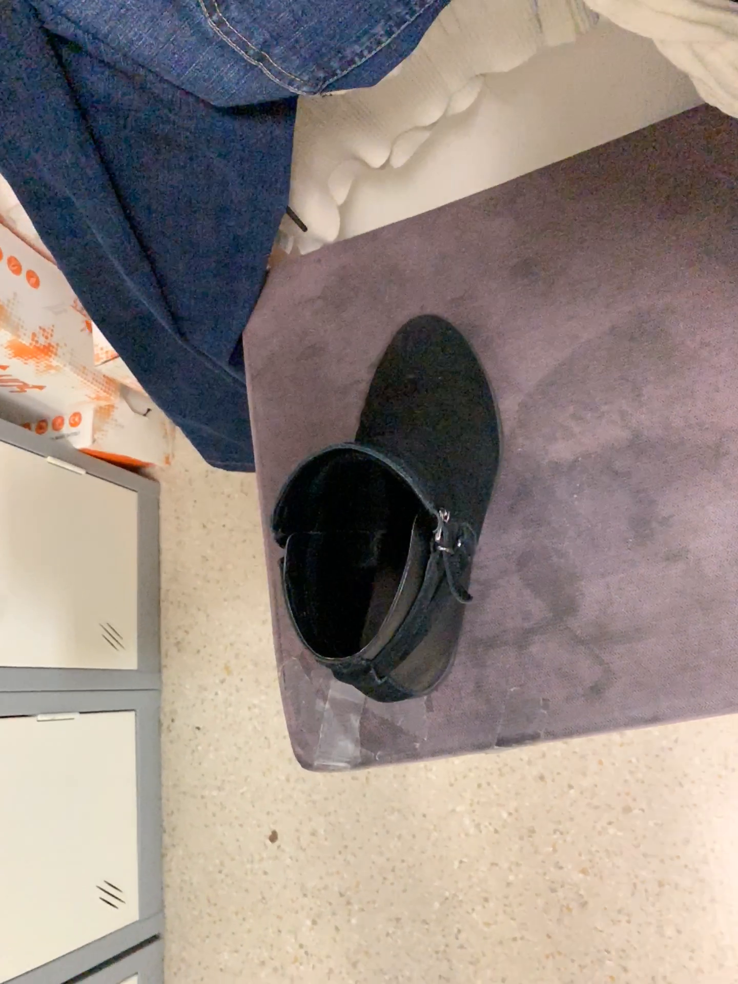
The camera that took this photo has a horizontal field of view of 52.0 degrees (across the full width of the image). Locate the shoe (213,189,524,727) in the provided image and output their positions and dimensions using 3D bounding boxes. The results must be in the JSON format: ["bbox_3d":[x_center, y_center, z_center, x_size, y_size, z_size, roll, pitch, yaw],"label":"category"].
[{"bbox_3d":[0.014,-0.013,0.439,0.105,0.135,0.265,4,77,21],"label":"shoe"}]
